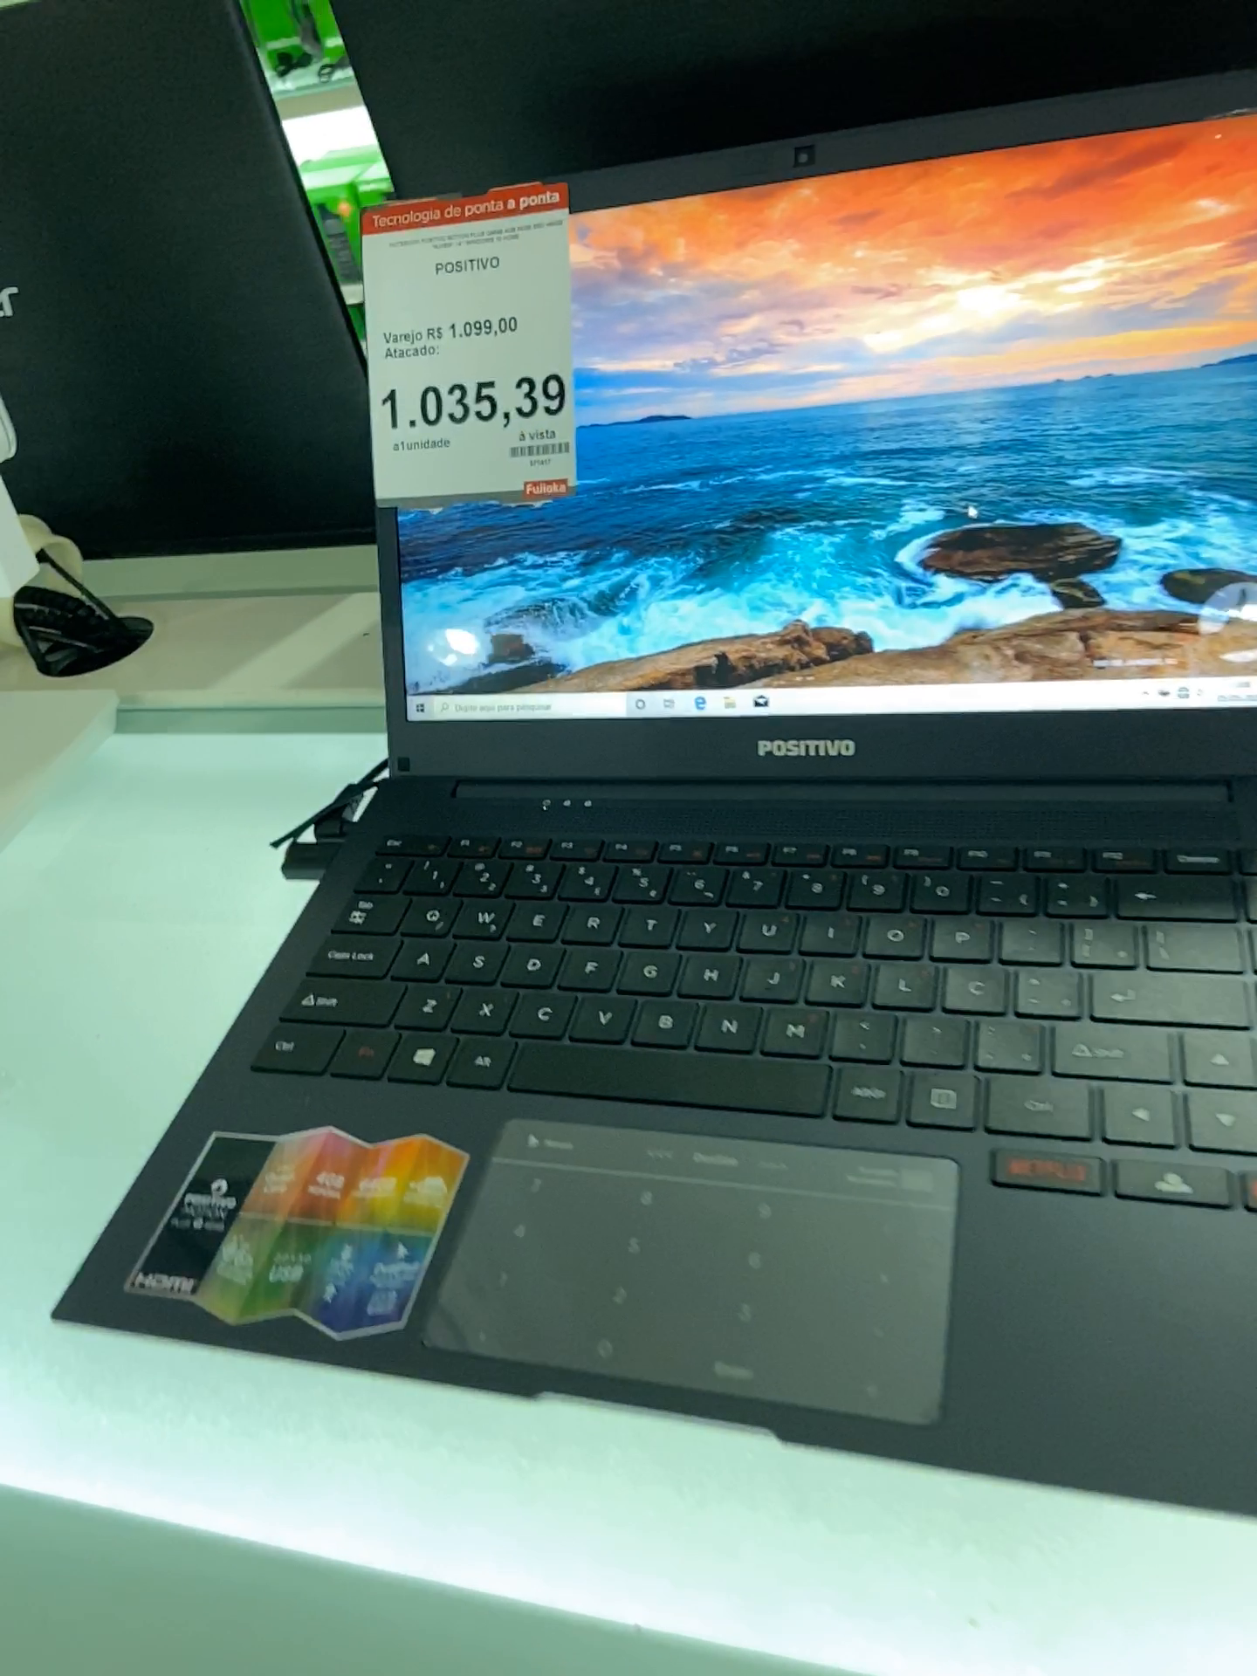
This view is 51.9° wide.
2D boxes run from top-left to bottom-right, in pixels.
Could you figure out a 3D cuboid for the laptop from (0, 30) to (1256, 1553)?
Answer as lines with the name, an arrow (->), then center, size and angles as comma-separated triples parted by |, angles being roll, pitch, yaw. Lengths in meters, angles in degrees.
laptop -> 0.033, -0.056, 0.363 | 0.334, 0.175, 0.356 | 1, 41, 19
